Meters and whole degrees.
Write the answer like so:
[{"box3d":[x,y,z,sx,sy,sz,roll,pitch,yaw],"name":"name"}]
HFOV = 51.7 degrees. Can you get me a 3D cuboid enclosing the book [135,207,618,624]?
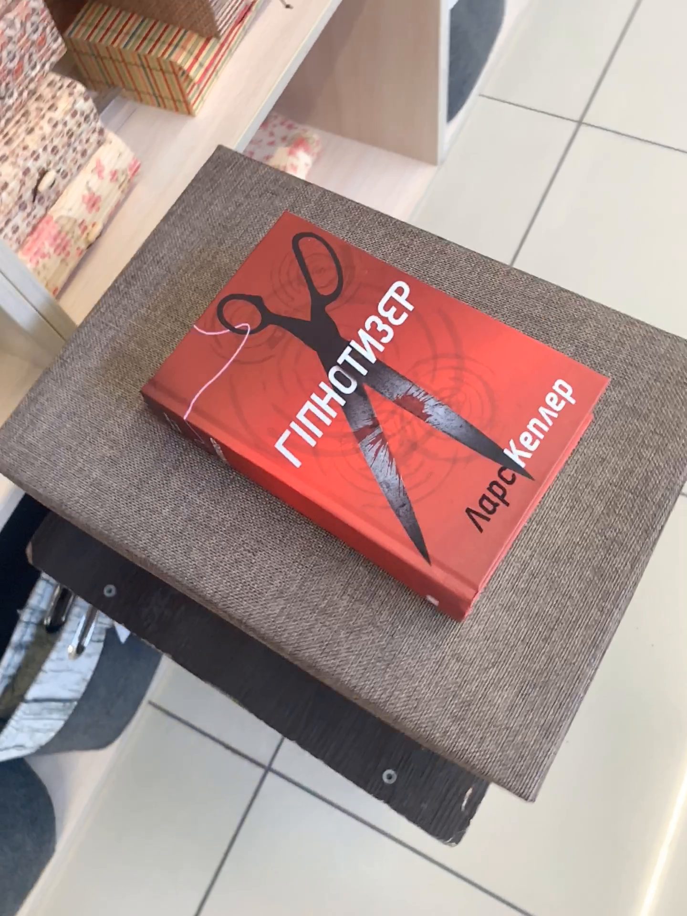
[{"box3d":[0.015,-0.027,0.368,0.195,0.050,0.132,31,76,15],"name":"book"}]
